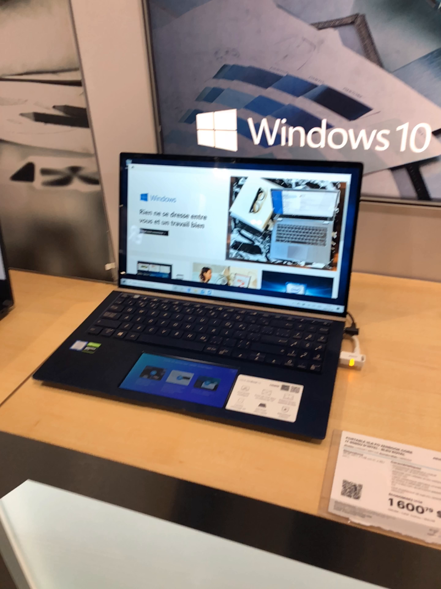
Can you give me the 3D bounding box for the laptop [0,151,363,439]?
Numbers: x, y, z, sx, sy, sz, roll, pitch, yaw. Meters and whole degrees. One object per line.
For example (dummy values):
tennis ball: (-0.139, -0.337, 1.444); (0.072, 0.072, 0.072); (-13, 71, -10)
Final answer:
laptop: (-0.021, -0.032, 0.583); (0.338, 0.183, 0.274); (8, 34, 16)
